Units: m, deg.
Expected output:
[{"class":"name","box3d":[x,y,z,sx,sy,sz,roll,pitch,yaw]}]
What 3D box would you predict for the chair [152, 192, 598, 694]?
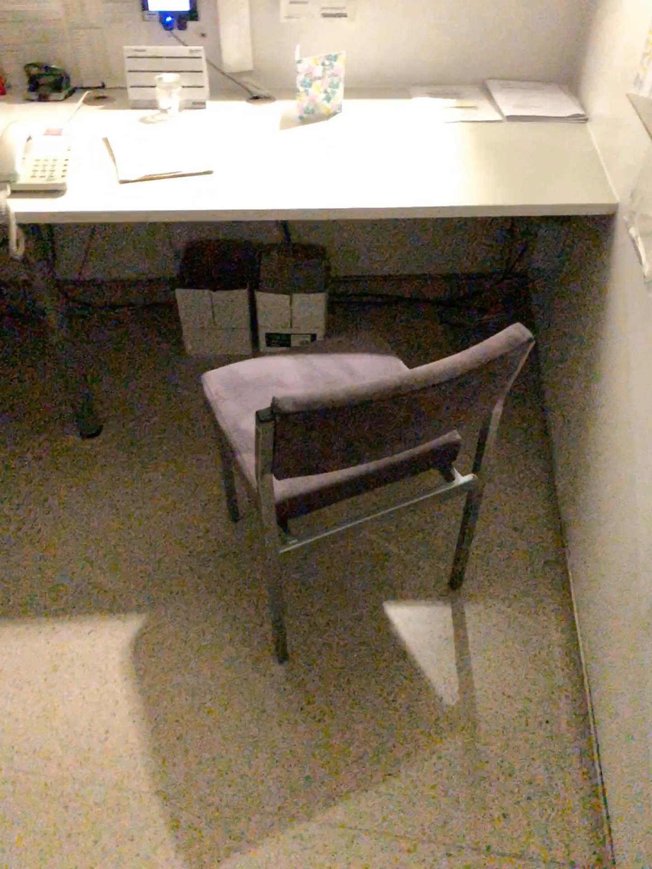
[{"class":"chair","box3d":[0.042,0.005,1.311,0.541,0.693,0.544,-16,45,-18]}]
